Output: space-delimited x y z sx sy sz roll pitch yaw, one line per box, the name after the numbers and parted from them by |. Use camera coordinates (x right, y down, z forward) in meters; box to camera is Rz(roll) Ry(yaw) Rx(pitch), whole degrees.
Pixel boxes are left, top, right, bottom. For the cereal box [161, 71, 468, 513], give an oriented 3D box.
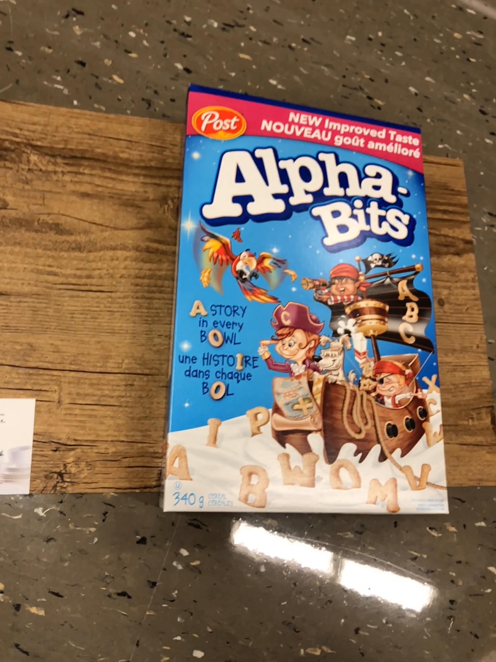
0.048 -0.028 0.420 0.200 0.060 0.310 5 74 -12 | cereal box
